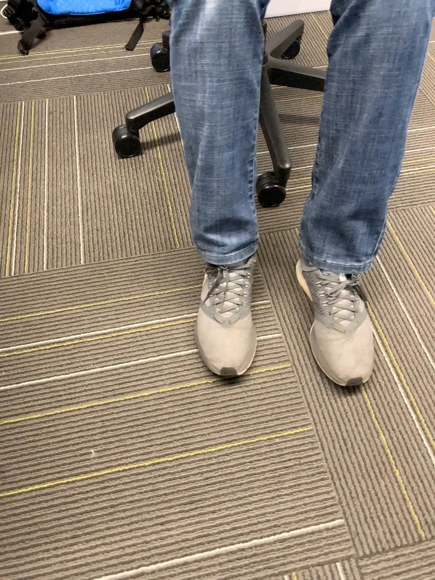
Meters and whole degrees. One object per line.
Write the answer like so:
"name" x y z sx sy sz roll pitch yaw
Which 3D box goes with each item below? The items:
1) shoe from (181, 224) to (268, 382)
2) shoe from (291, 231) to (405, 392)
"shoe" 0.020 0.014 0.805 0.132 0.078 0.285 3 56 3
"shoe" 0.223 0.030 0.803 0.124 0.078 0.287 -3 55 -1
